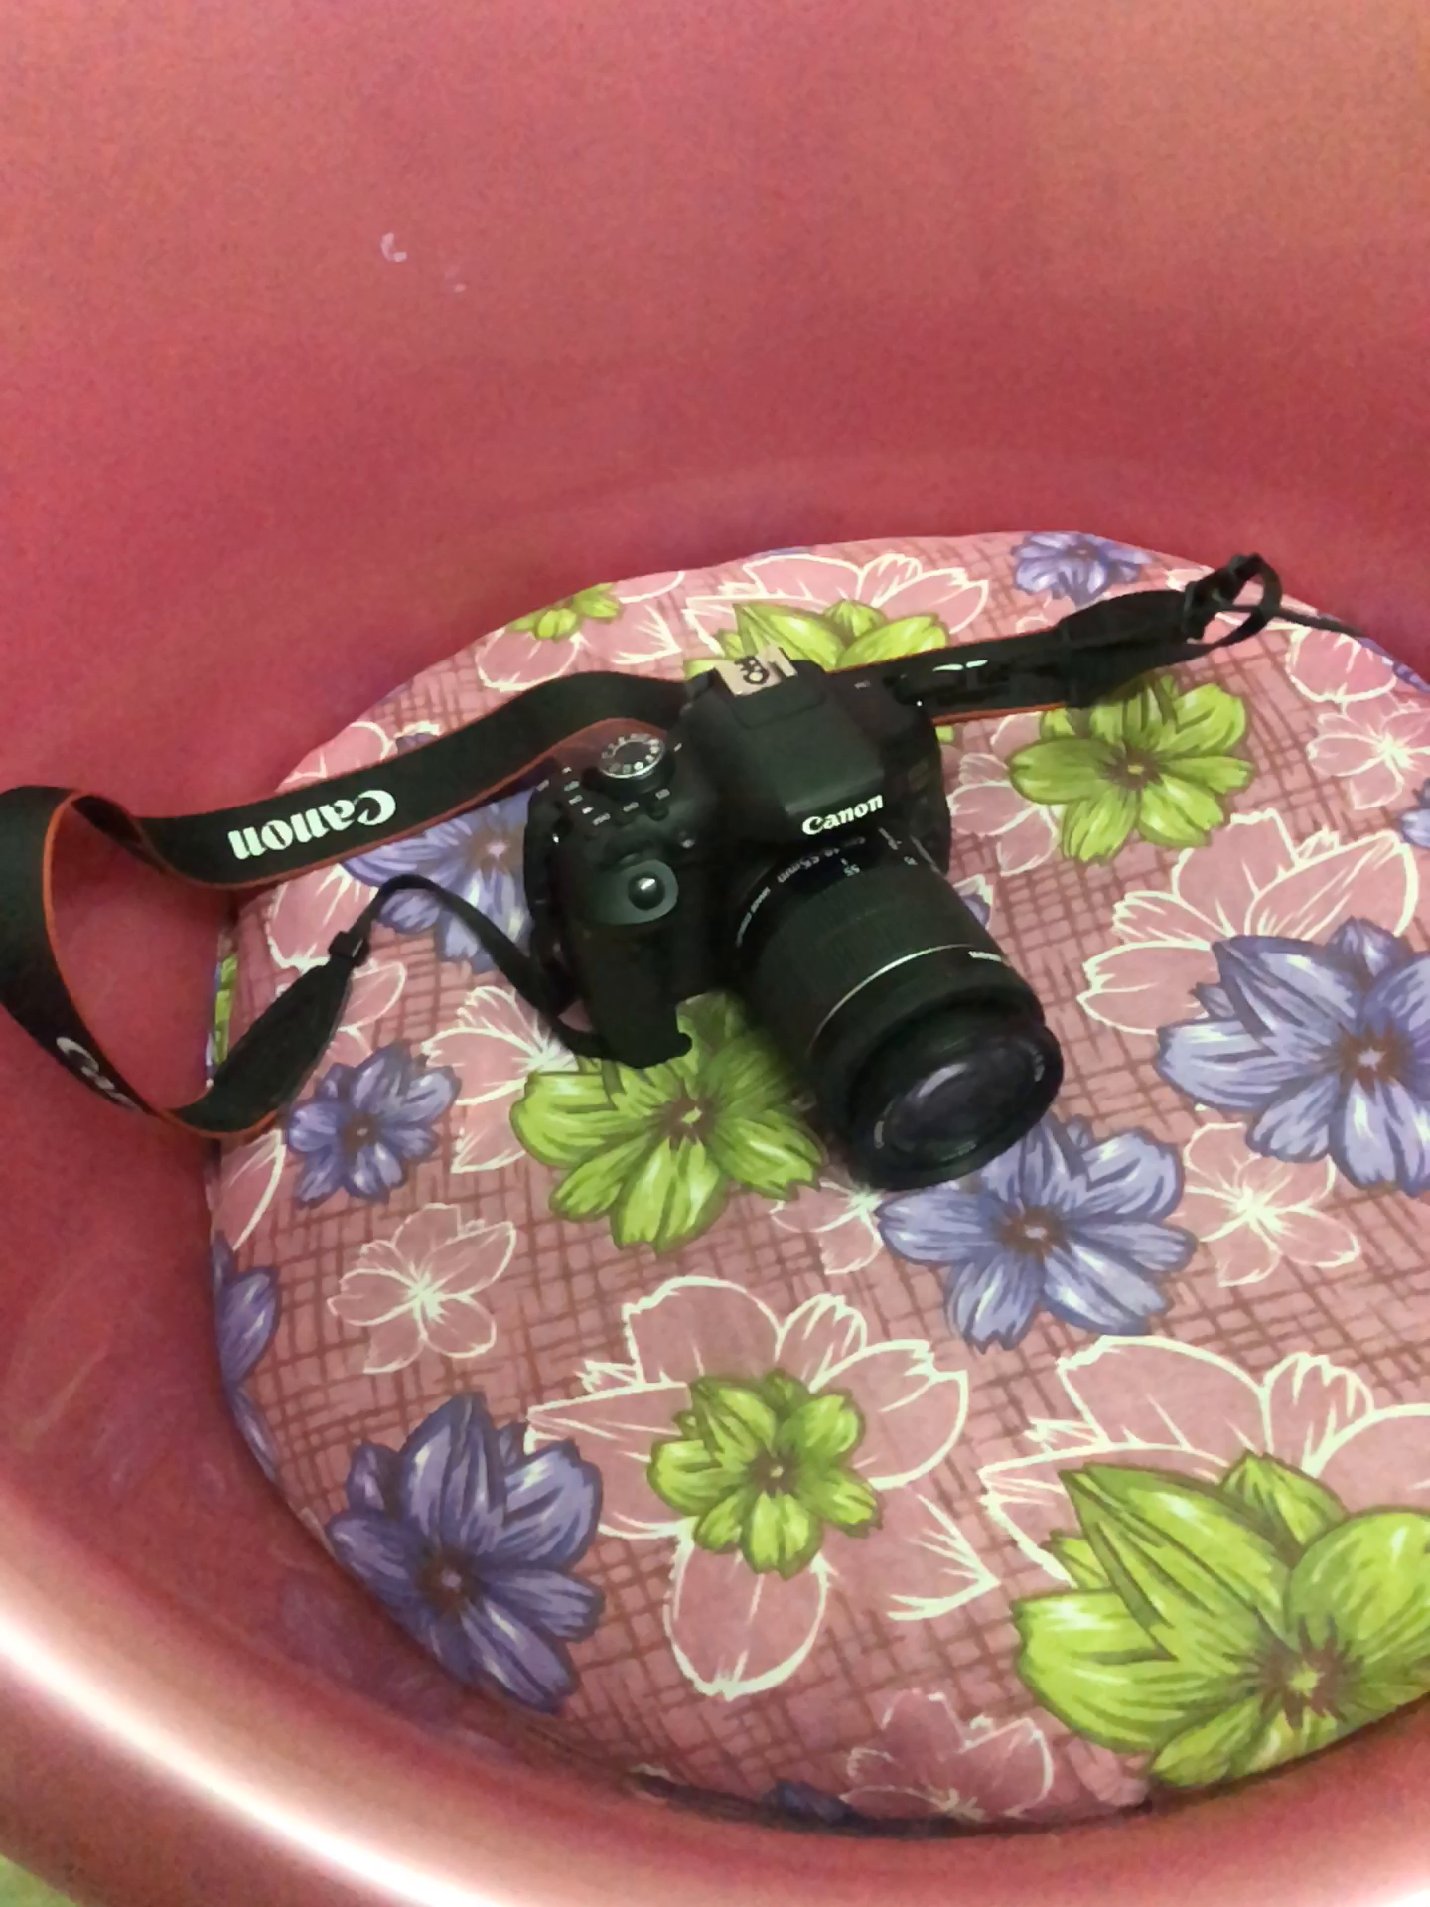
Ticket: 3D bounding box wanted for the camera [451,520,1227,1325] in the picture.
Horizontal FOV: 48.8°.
[{"bbox_3d":[0.026,-0.014,0.435,0.140,0.099,0.161,-20,52,-10],"label":"camera"}]
